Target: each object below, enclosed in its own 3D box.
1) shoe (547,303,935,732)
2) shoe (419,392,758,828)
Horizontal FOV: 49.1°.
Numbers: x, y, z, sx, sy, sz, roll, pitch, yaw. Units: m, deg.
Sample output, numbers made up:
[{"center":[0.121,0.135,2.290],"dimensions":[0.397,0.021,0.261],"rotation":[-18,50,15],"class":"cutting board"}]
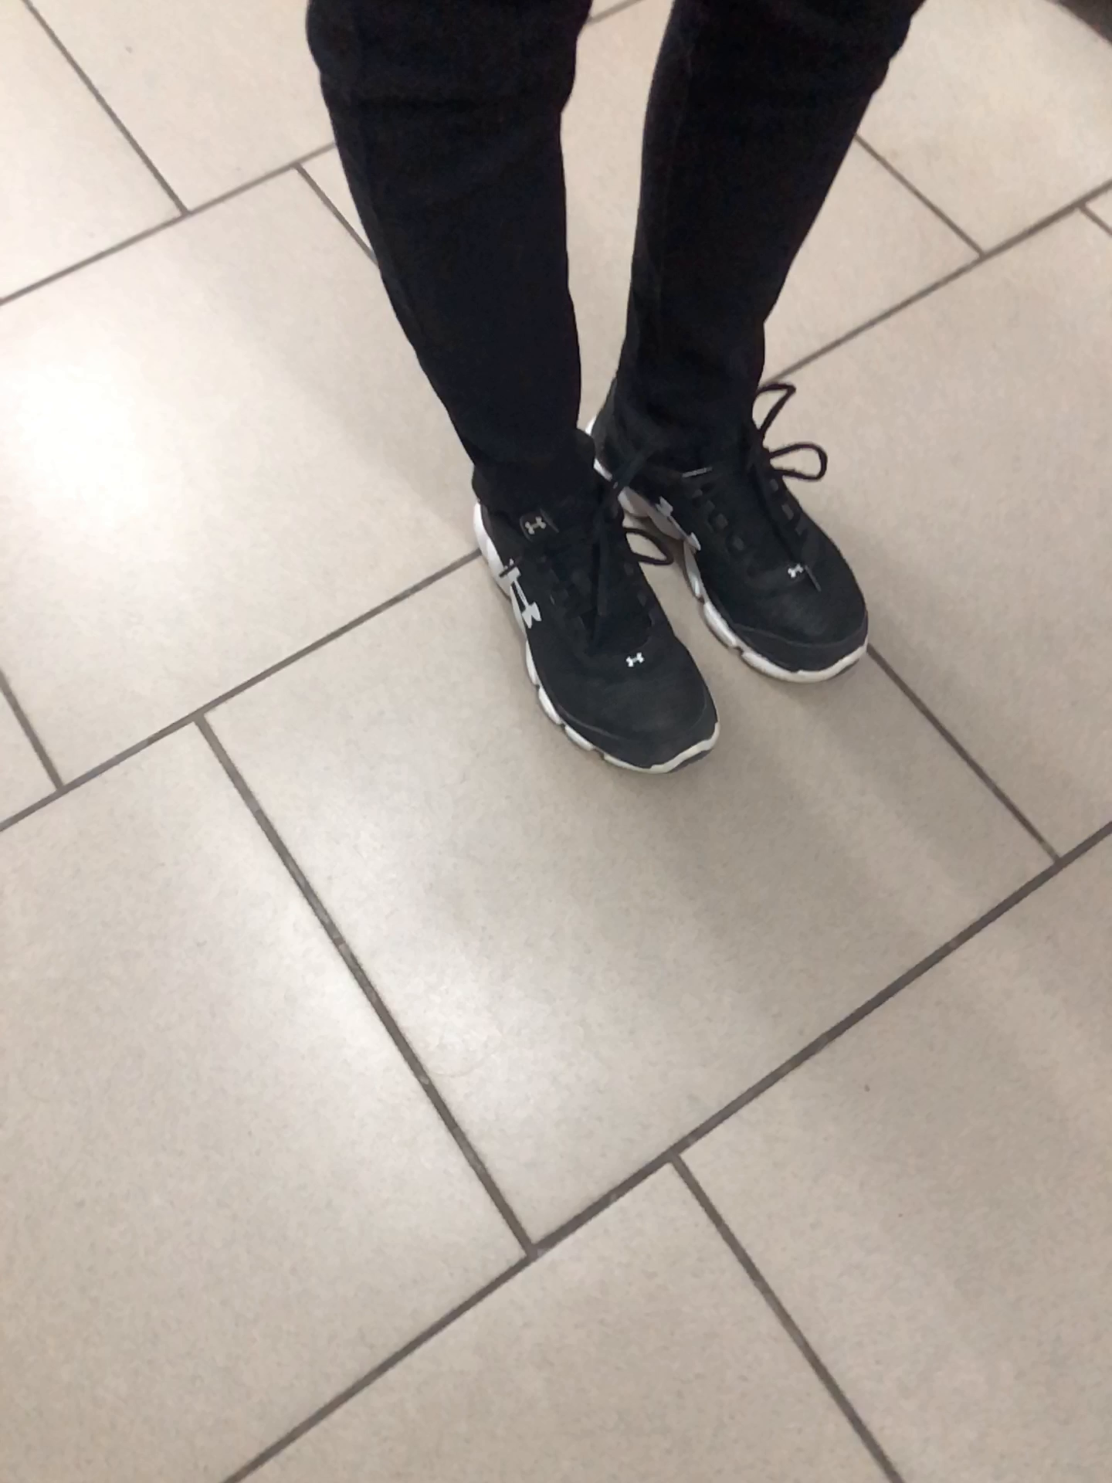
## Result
[{"center":[0.115,-0.156,0.830],"dimensions":[0.110,0.090,0.270],"rotation":[-31,70,-13],"class":"shoe"},{"center":[0.015,-0.091,0.813],"dimensions":[0.110,0.090,0.260],"rotation":[-24,68,-10],"class":"shoe"}]
